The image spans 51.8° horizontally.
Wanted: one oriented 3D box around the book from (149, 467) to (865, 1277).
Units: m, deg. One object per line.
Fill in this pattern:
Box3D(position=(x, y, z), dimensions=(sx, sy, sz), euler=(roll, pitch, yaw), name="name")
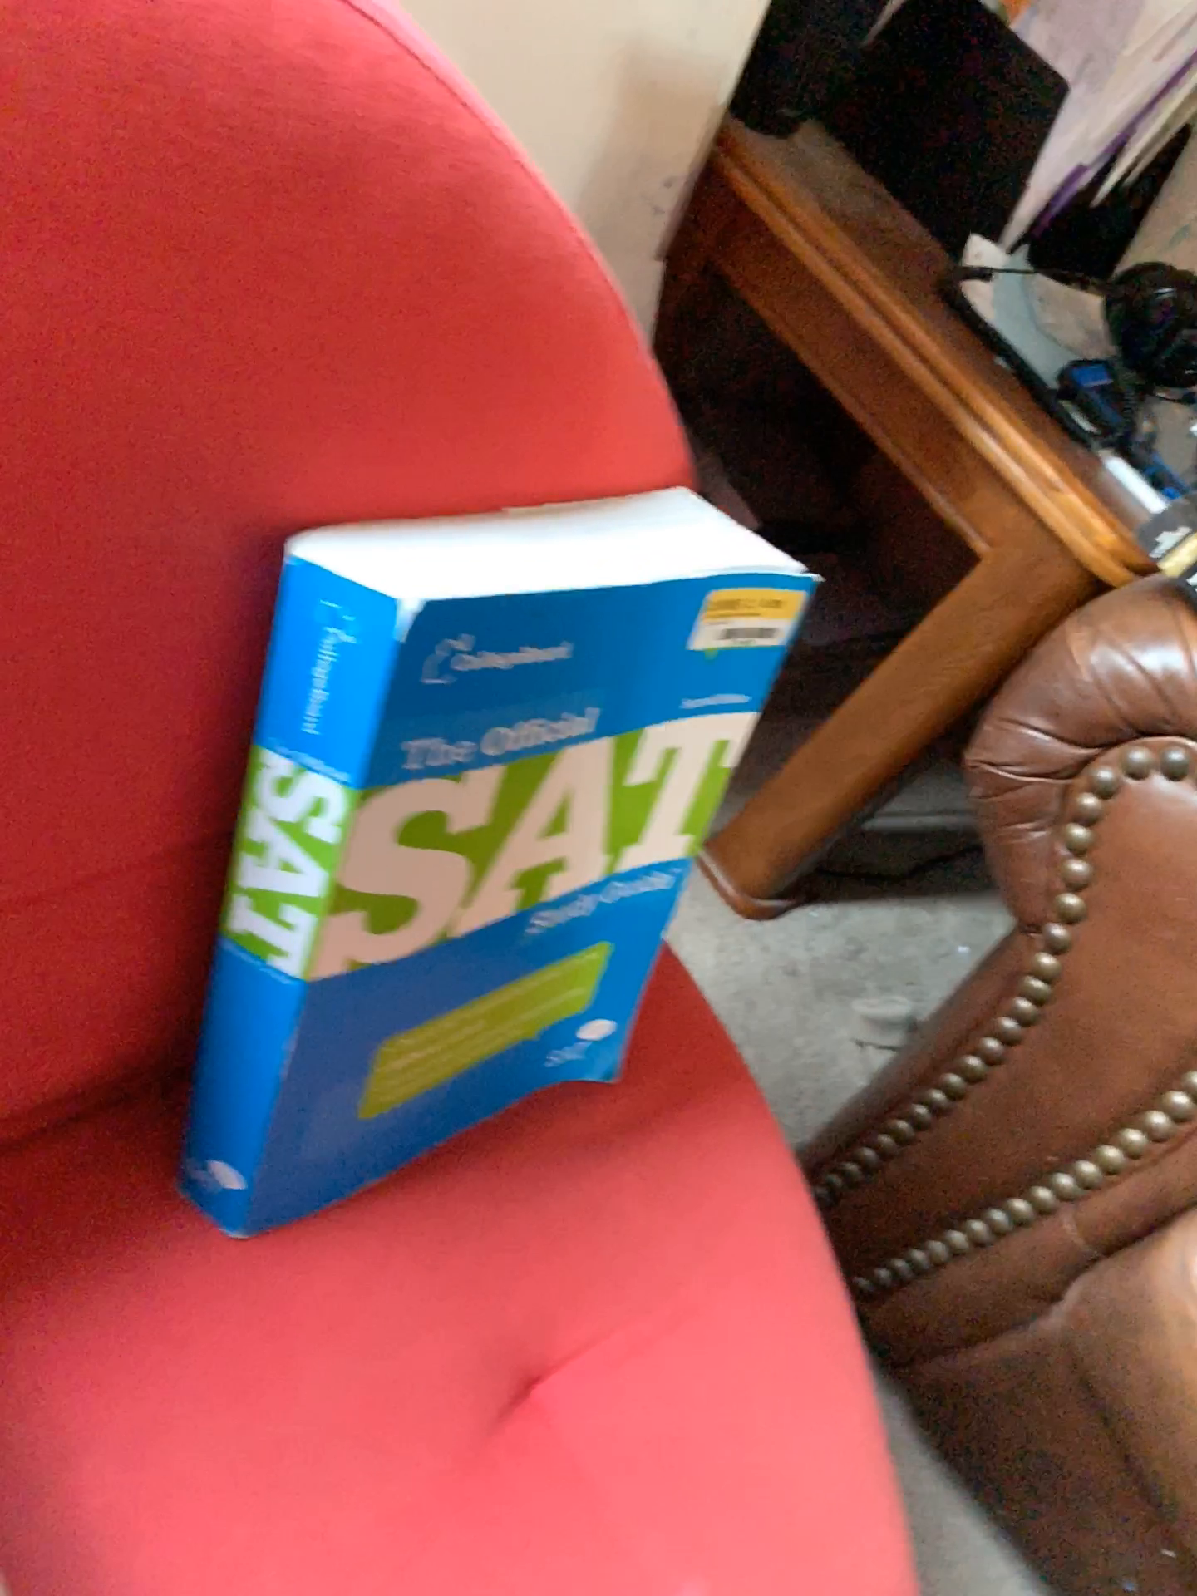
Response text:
Box3D(position=(-0.036, 0.015, 0.471), dimensions=(0.231, 0.259, 0.080), euler=(-14, 38, -43), name="book")
